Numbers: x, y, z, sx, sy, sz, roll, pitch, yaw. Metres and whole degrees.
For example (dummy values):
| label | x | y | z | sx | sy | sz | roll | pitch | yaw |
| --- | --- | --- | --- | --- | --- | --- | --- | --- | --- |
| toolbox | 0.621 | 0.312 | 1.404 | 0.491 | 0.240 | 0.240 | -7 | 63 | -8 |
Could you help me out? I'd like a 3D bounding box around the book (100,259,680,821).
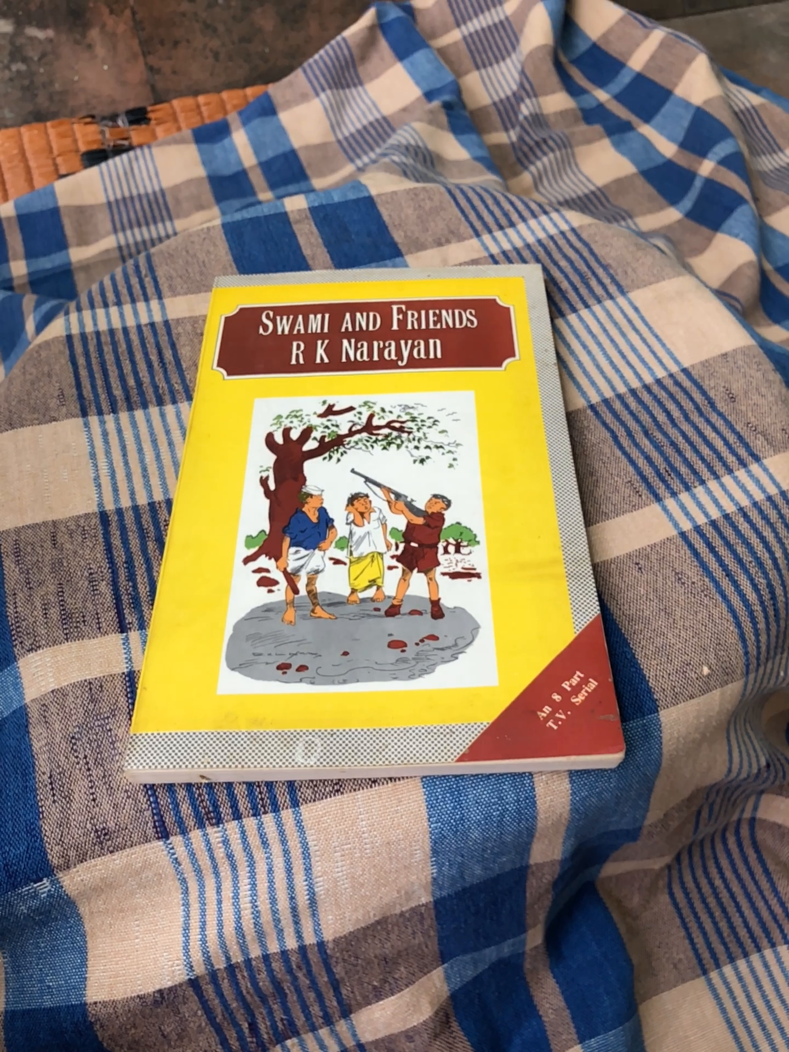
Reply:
| label | x | y | z | sx | sy | sz | roll | pitch | yaw |
| --- | --- | --- | --- | --- | --- | --- | --- | --- | --- |
| book | -0.001 | -0.011 | 0.264 | 0.130 | 0.020 | 0.191 | -1 | 52 | 2 |
